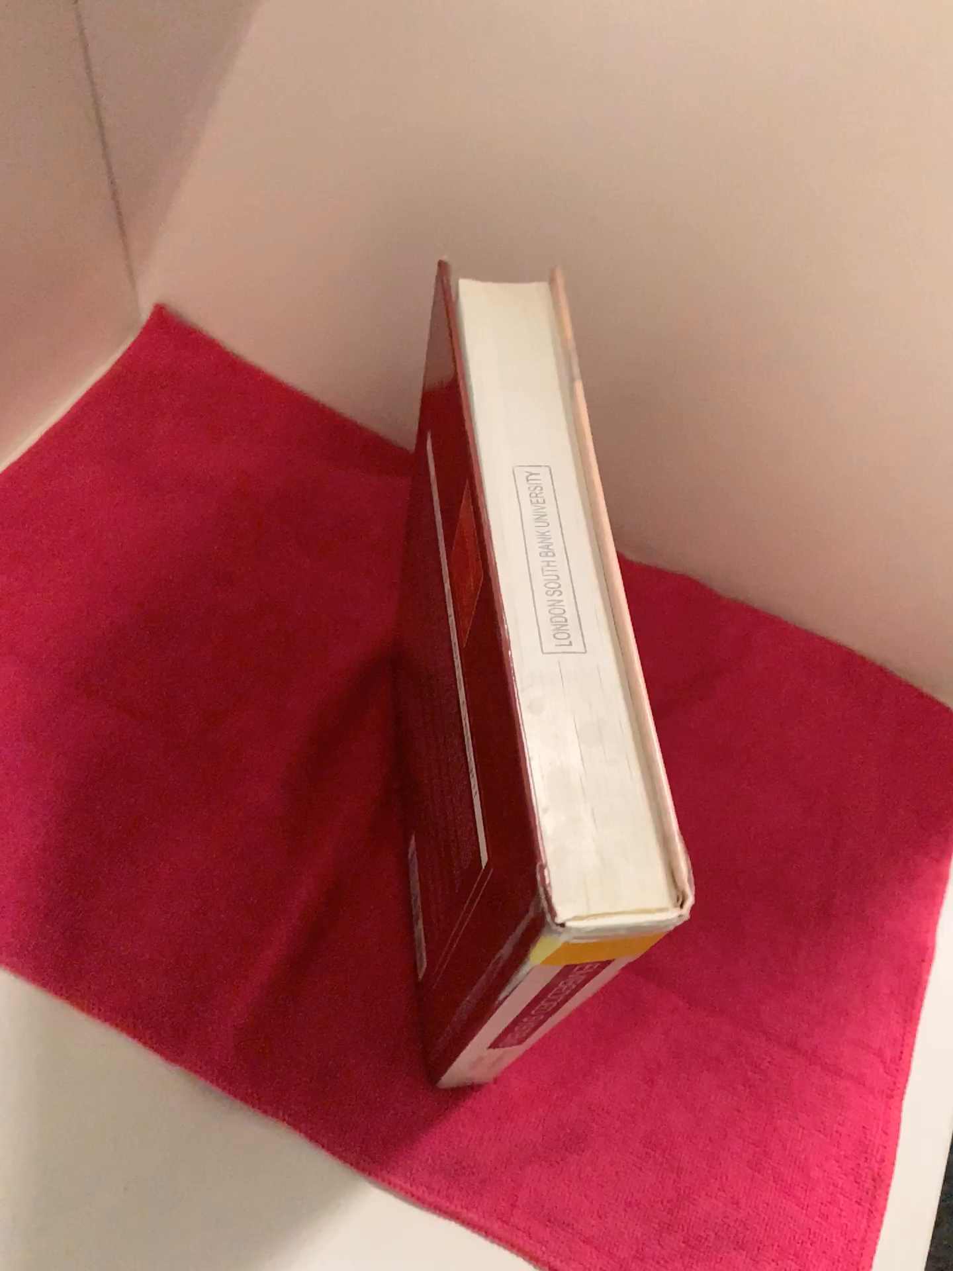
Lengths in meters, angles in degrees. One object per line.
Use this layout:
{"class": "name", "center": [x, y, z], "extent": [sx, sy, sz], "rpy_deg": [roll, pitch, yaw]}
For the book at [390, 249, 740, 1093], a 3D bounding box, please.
{"class": "book", "center": [0.005, 0.036, 0.366], "extent": [0.044, 0.259, 0.213], "rpy_deg": [-2, 59, -10]}
